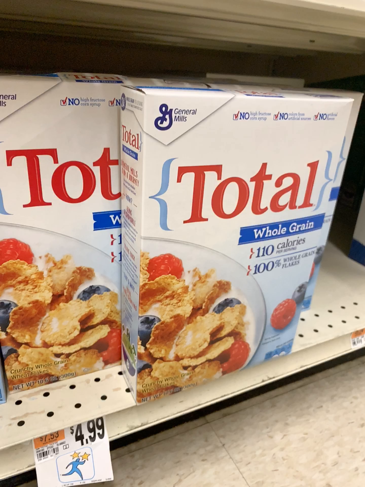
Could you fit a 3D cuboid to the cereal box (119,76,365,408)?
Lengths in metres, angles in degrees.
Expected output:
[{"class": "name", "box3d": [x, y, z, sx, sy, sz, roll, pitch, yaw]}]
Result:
[{"class": "cereal box", "box3d": [0.046, 0.003, 0.351, 0.200, 0.278, 0.050, -8, 28, -24]}]
